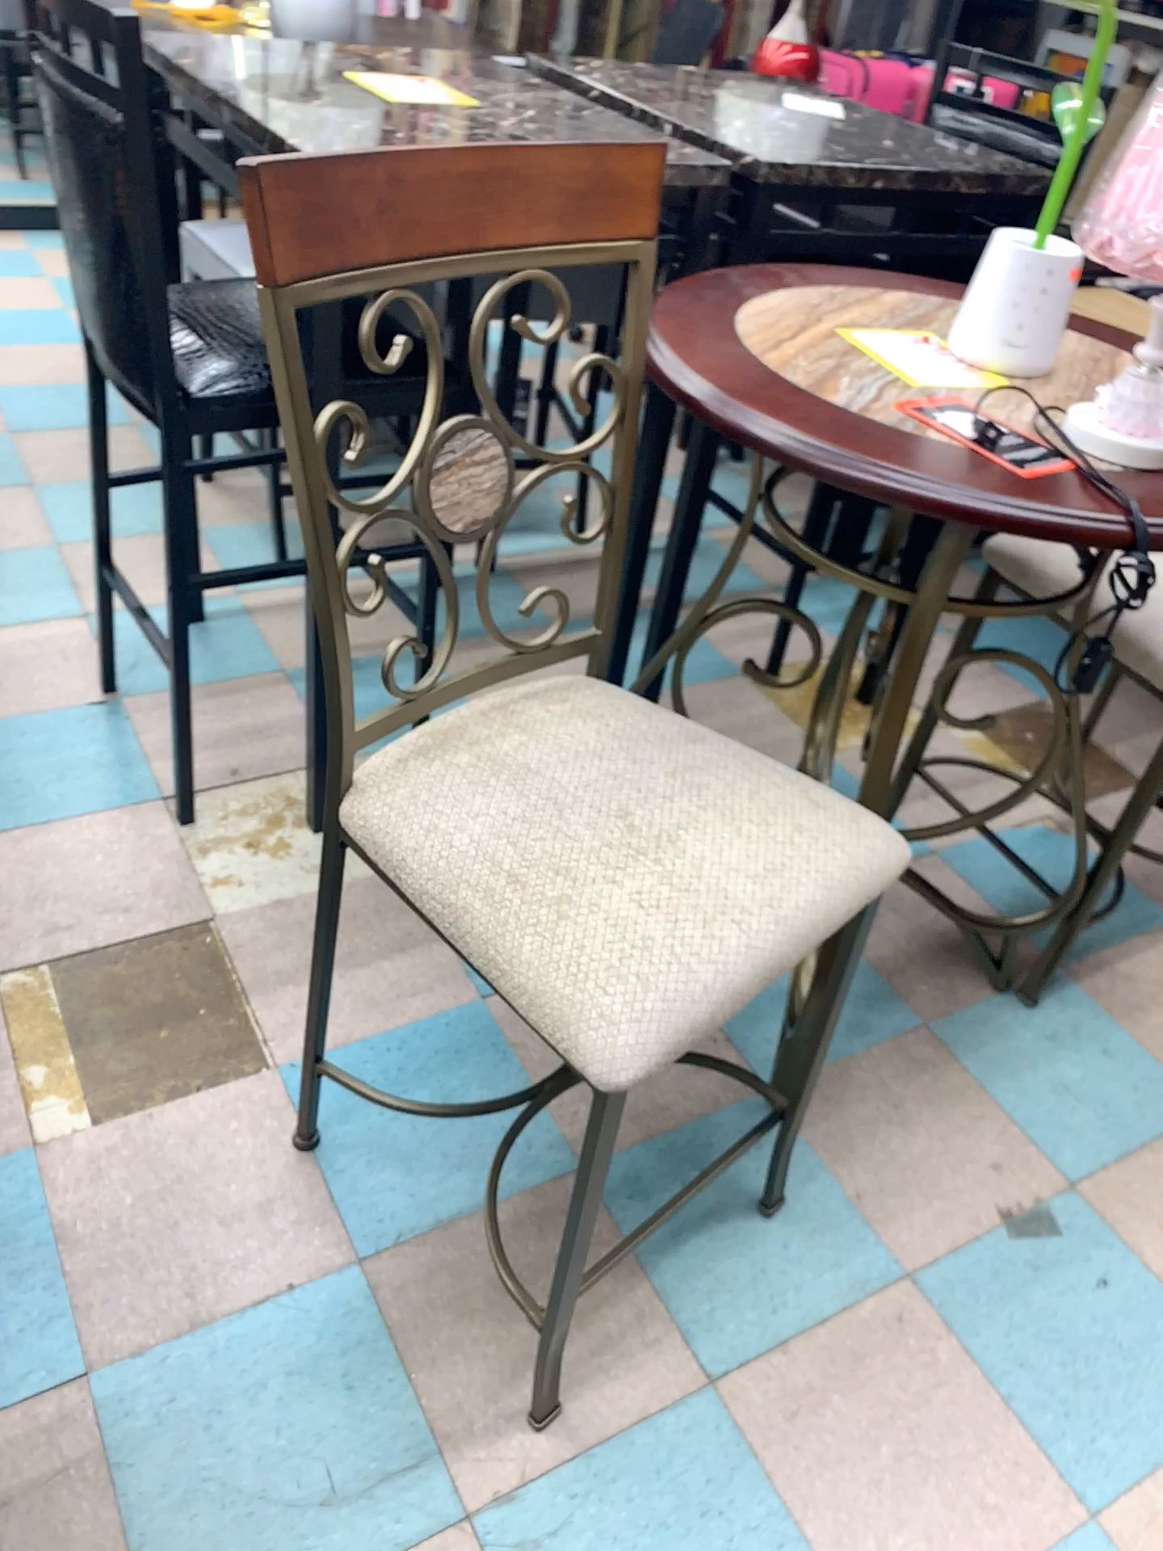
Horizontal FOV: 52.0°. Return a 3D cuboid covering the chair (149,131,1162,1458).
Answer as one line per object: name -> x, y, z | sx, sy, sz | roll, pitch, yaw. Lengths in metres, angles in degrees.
chair -> 0.008, 0.025, 1.185 | 0.512, 1.052, 0.609 | -27, 51, -38
